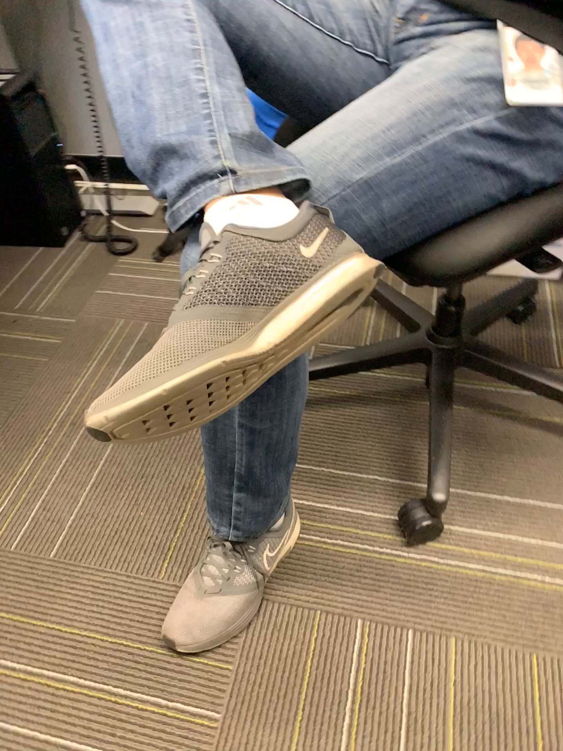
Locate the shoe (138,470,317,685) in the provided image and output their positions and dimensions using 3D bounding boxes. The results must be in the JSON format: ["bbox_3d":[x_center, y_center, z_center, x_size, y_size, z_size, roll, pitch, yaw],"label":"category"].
[{"bbox_3d":[-0.070,0.300,0.897,0.114,0.092,0.288,24,52,26],"label":"shoe"}]

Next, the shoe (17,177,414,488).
[{"bbox_3d":[-0.048,-0.051,0.515,0.295,0.120,0.134,-26,52,-21],"label":"shoe"}]
